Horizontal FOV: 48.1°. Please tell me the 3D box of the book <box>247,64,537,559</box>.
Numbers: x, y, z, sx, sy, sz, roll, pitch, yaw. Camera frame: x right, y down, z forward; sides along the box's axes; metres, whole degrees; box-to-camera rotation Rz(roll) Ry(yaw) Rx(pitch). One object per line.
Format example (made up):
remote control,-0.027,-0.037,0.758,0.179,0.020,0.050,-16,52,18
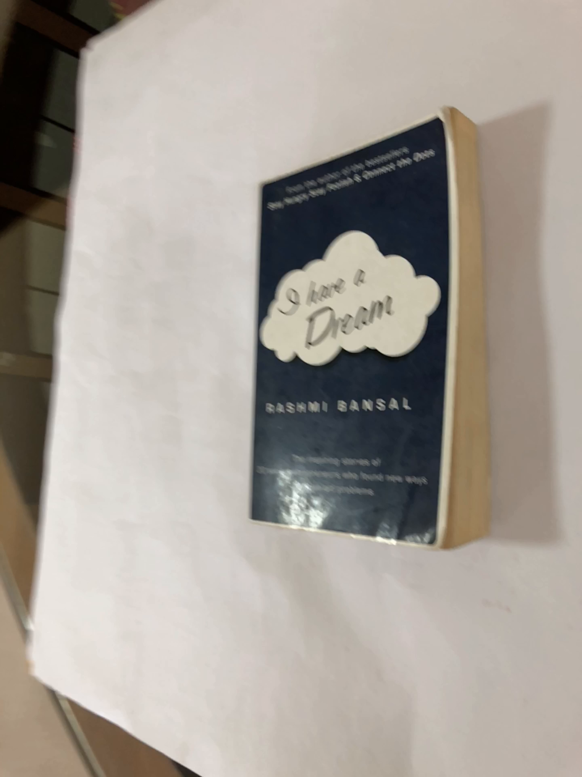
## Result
book,0.042,-0.029,0.316,0.141,0.030,0.200,-4,81,42
